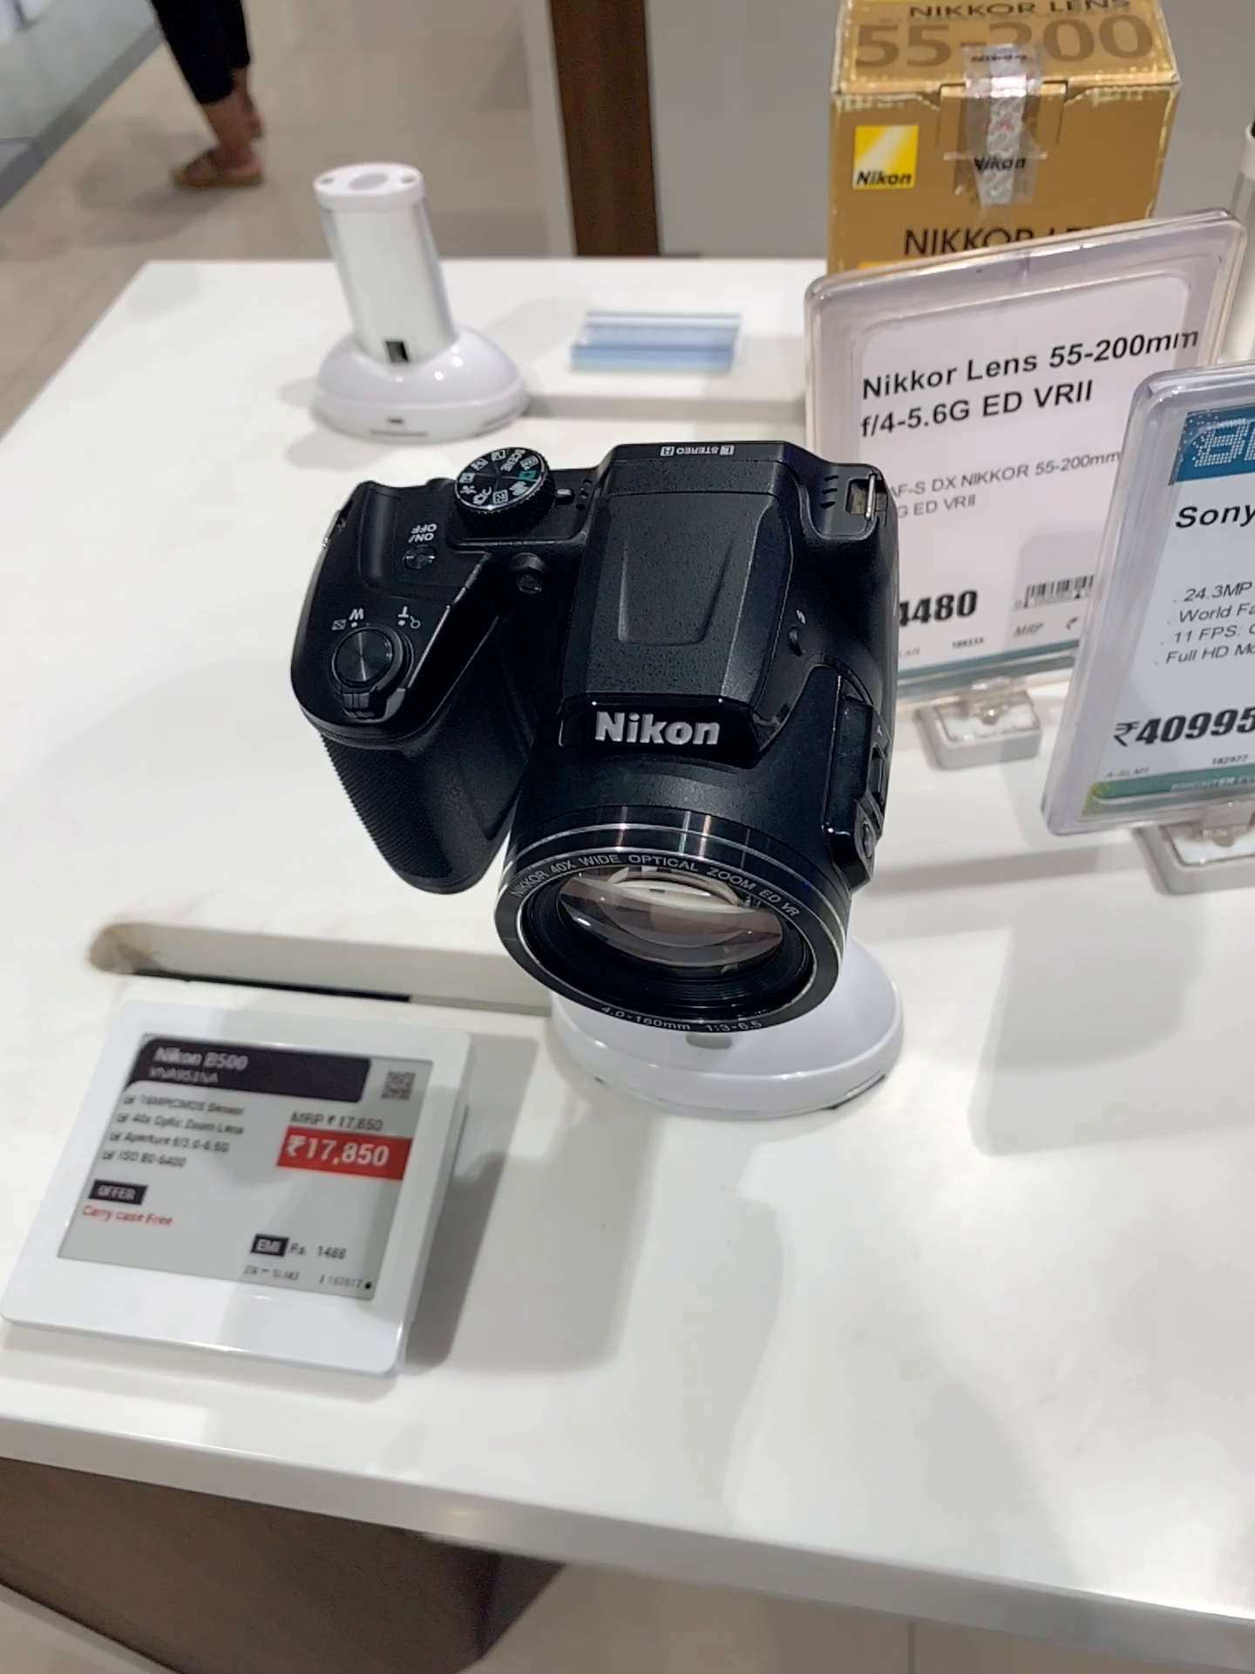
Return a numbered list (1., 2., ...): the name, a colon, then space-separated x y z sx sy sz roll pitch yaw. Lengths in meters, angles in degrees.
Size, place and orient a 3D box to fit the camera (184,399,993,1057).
1. camera: 0.002 -0.020 0.229 0.113 0.070 0.084 4 56 10
